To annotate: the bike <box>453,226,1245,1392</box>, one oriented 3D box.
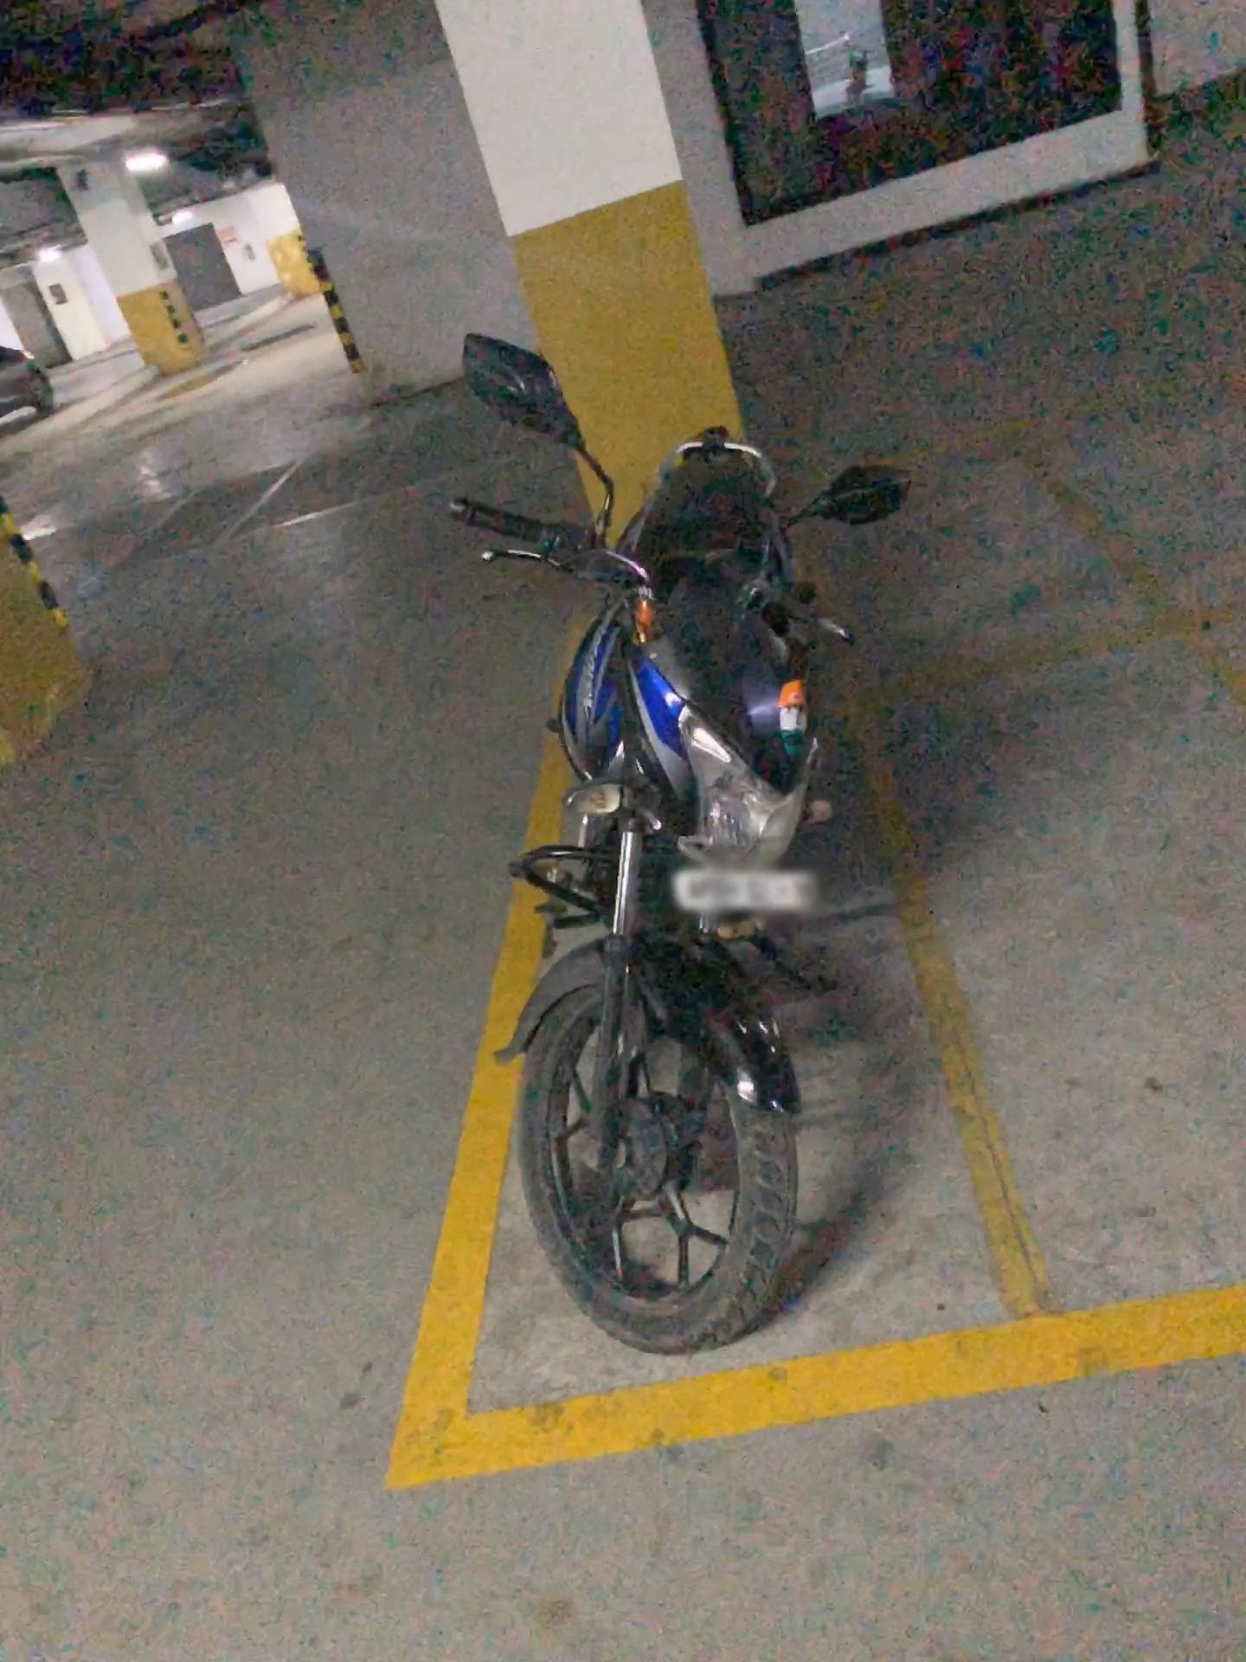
[{"bbox_3d":[0.389,-0.327,2.417,0.850,1.205,2.222,-15,28,7],"label":"bike"}]
